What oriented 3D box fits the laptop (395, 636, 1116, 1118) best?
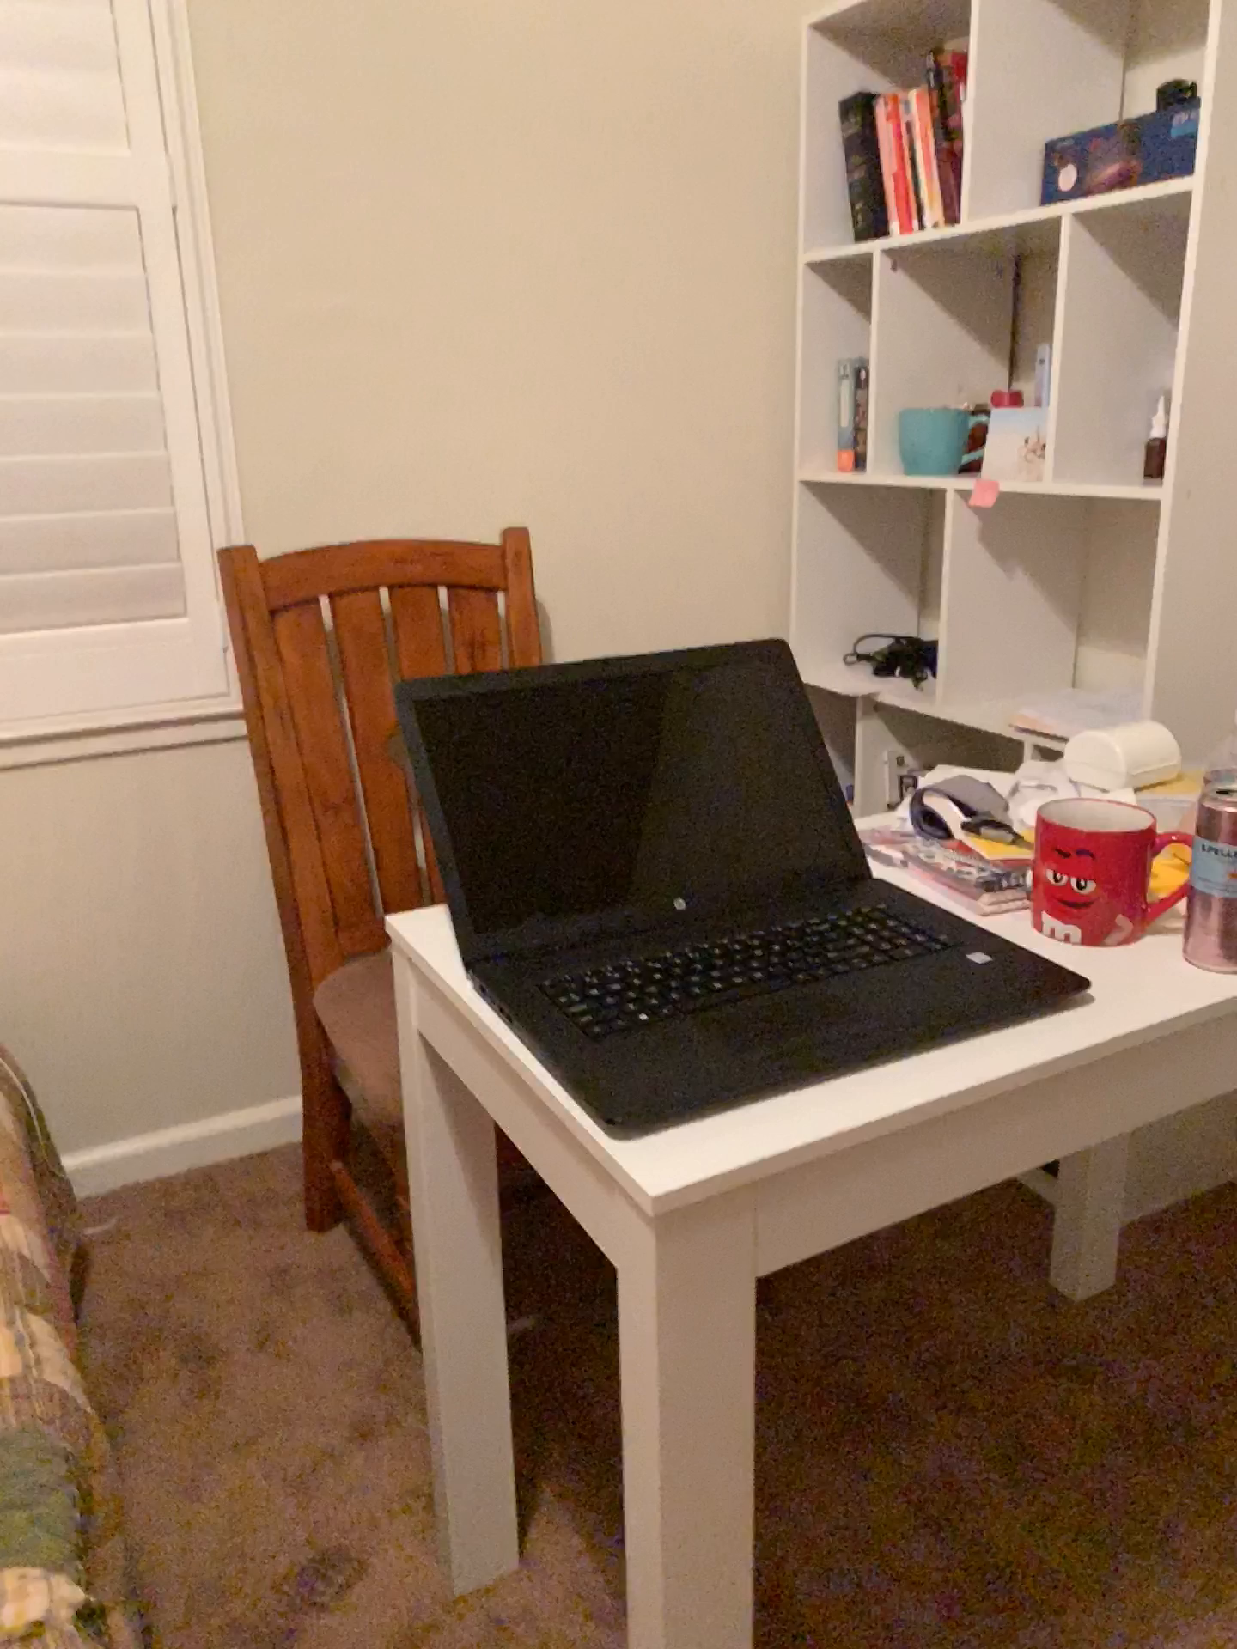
[{"bbox_3d":[0.083,-0.002,1.025,0.400,0.197,0.417,-10,20,-25],"label":"laptop"}]
